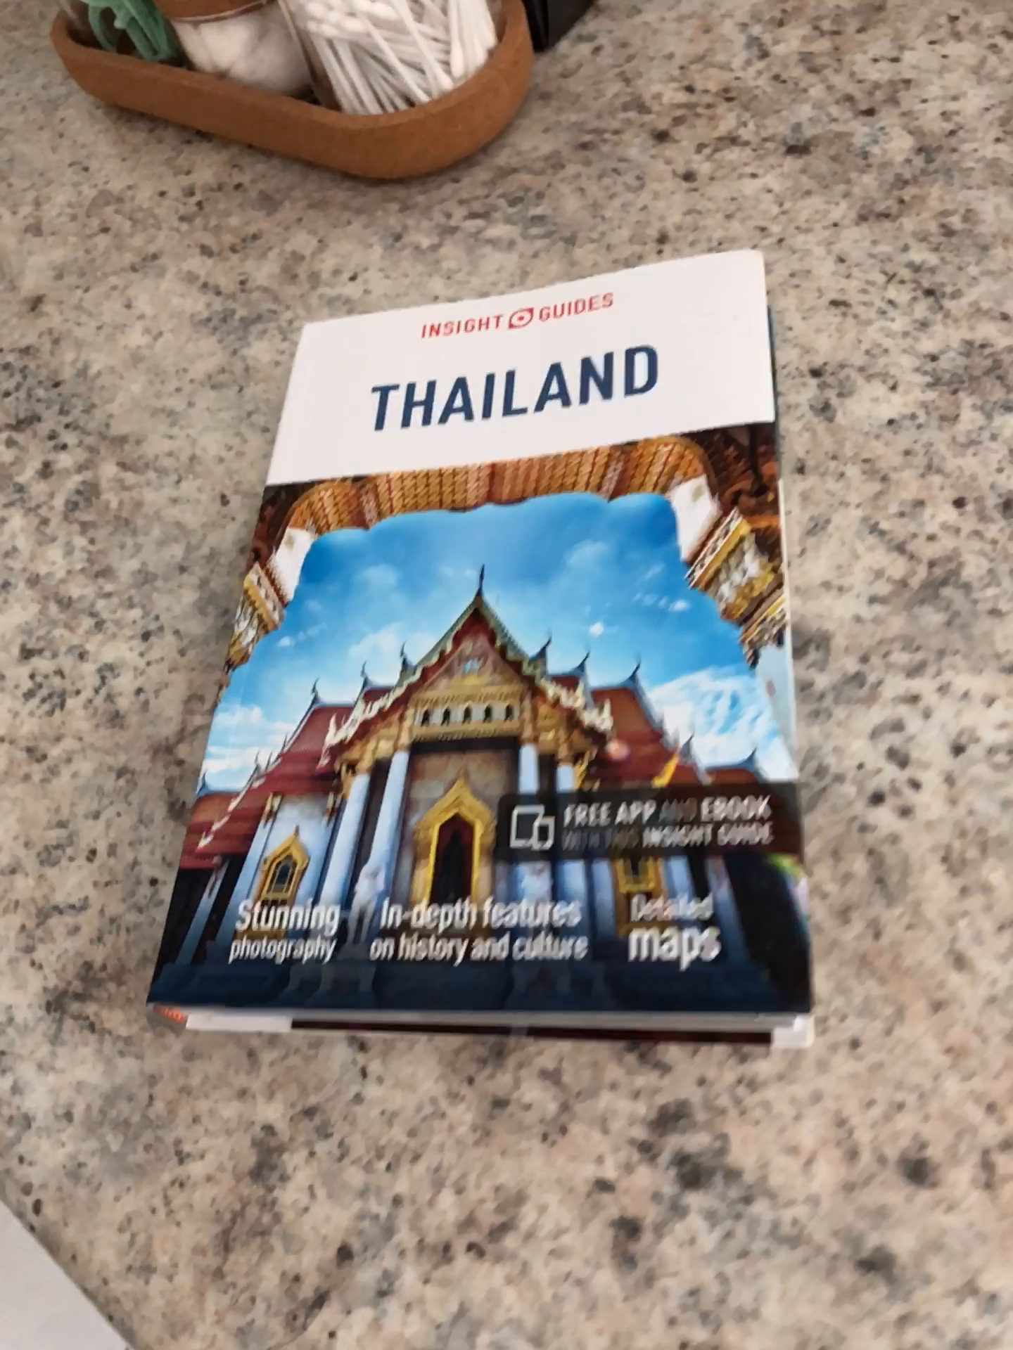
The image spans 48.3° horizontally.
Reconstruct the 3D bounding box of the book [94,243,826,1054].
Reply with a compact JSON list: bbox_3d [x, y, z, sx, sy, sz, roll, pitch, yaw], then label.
[{"bbox_3d":[-0.005,-0.020,0.320,0.164,0.030,0.240,-5,56,15],"label":"book"}]
